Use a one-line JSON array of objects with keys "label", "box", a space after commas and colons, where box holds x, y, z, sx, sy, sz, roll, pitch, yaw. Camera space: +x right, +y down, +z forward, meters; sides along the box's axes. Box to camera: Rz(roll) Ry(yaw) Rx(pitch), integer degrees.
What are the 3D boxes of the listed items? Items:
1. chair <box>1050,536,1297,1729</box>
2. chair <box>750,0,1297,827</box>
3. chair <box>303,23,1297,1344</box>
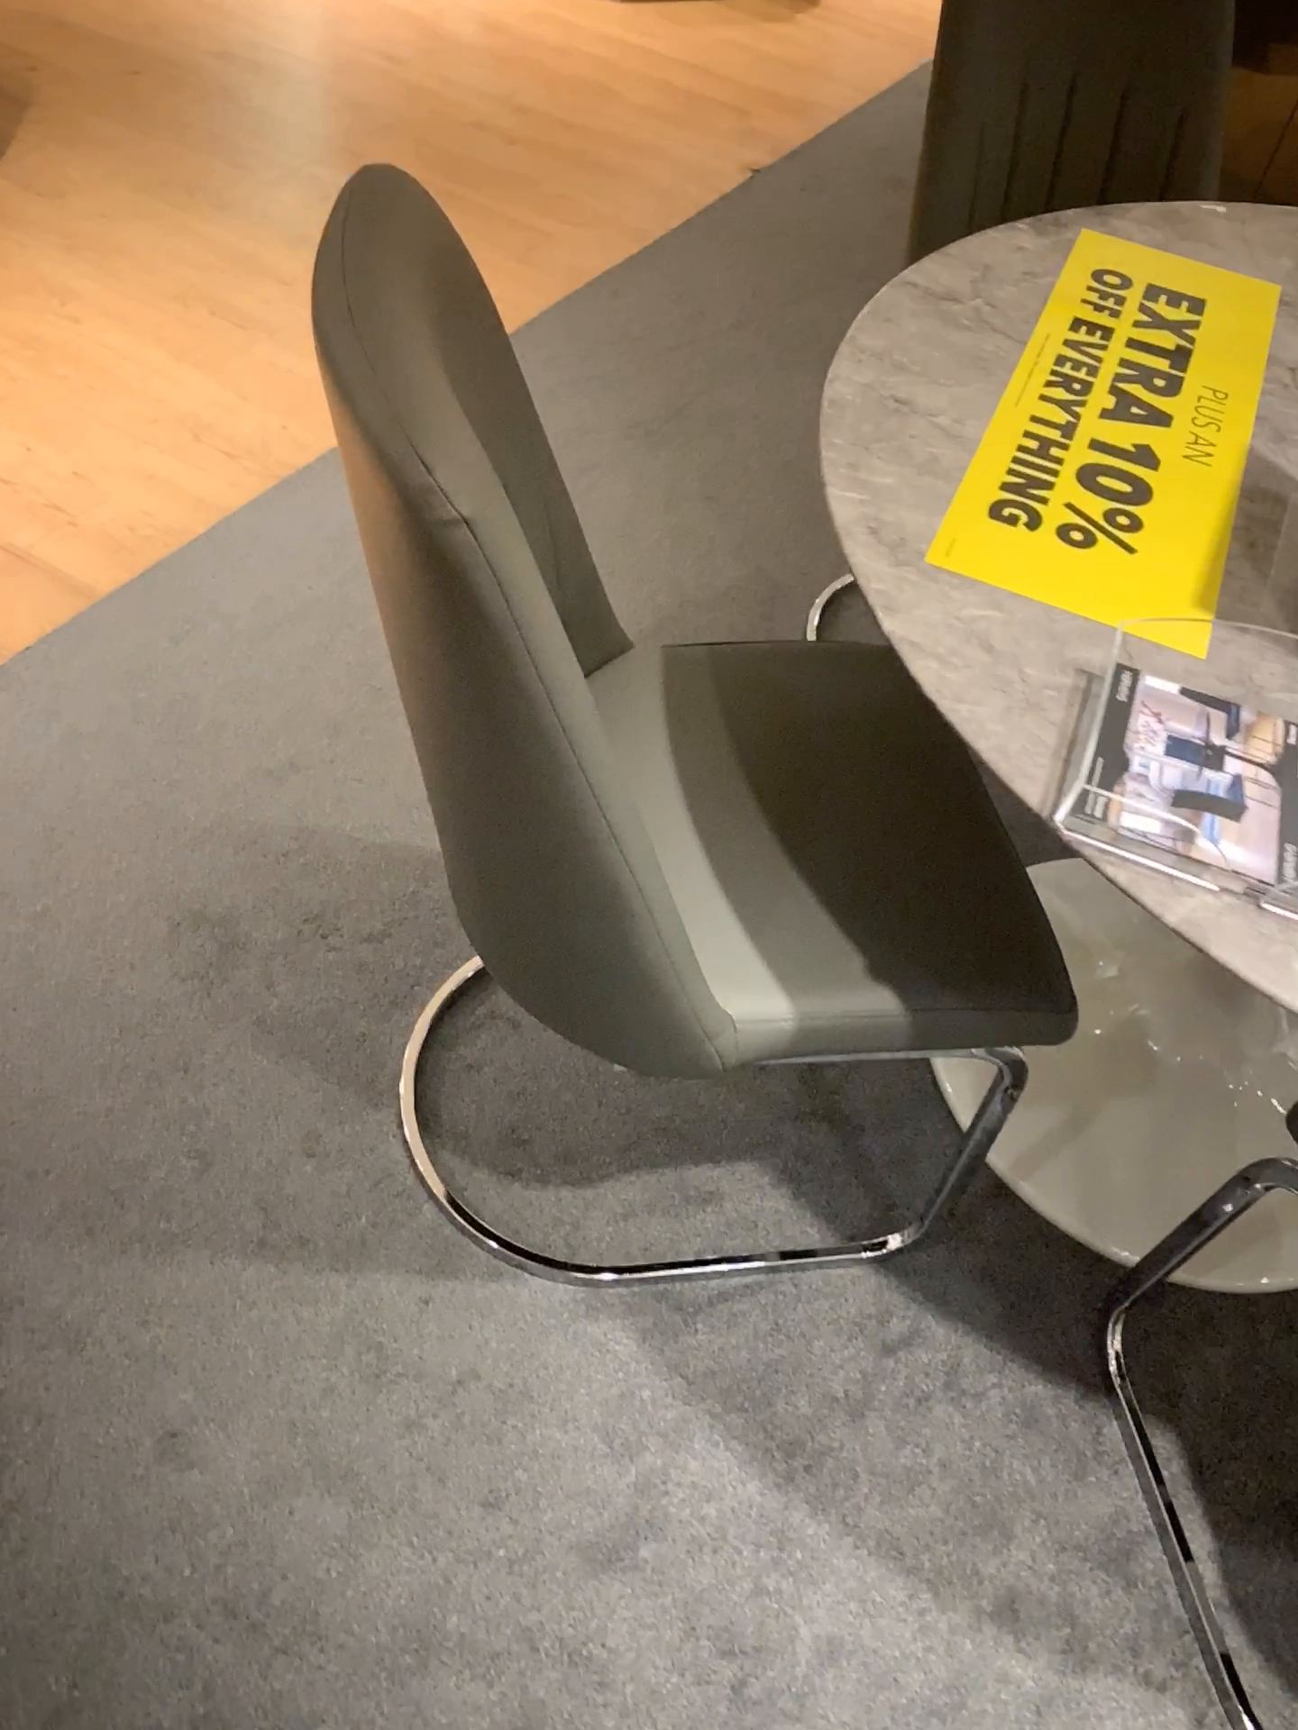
[{"label": "chair", "box": [0.753, 0.337, 0.858, 0.520, 0.883, 0.583, -1, 50, -10]}, {"label": "chair", "box": [0.546, -0.591, 1.633, 0.521, 0.883, 0.583, -9, 52, -17]}, {"label": "chair", "box": [0.072, -0.074, 1.096, 0.628, 0.883, 0.555, -2, 50, -11]}]
